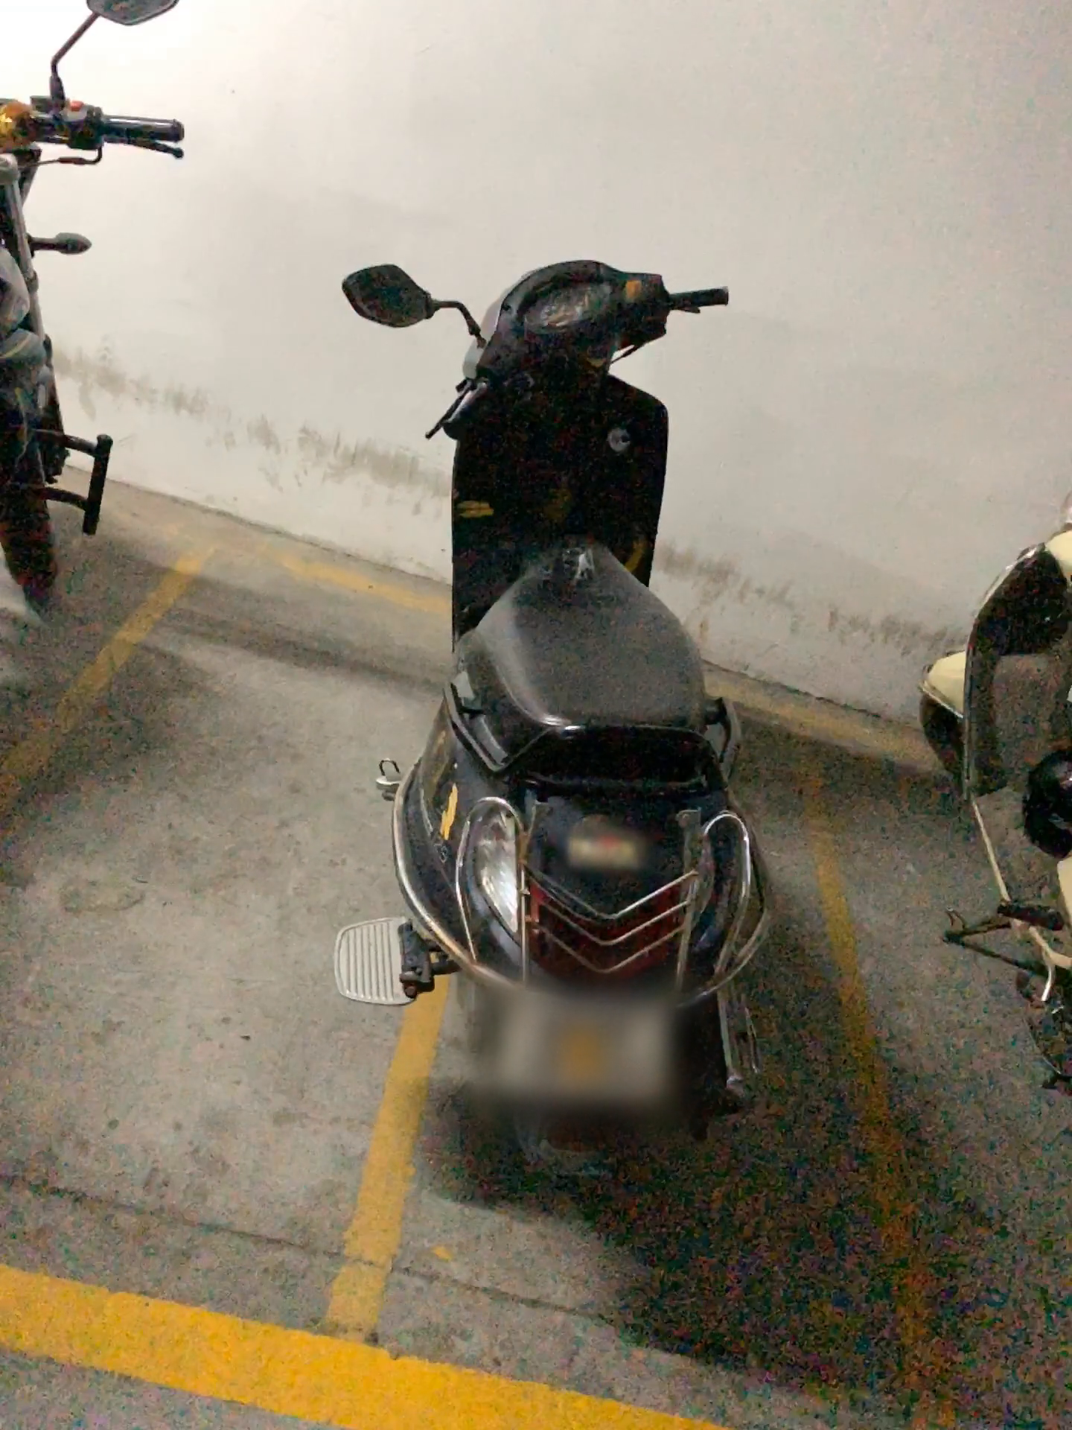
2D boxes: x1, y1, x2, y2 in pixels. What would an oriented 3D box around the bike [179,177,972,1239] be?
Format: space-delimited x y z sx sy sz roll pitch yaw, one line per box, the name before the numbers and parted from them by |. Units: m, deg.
bike | -0.116 -0.126 2.003 0.652 1.239 1.539 11 32 -14
